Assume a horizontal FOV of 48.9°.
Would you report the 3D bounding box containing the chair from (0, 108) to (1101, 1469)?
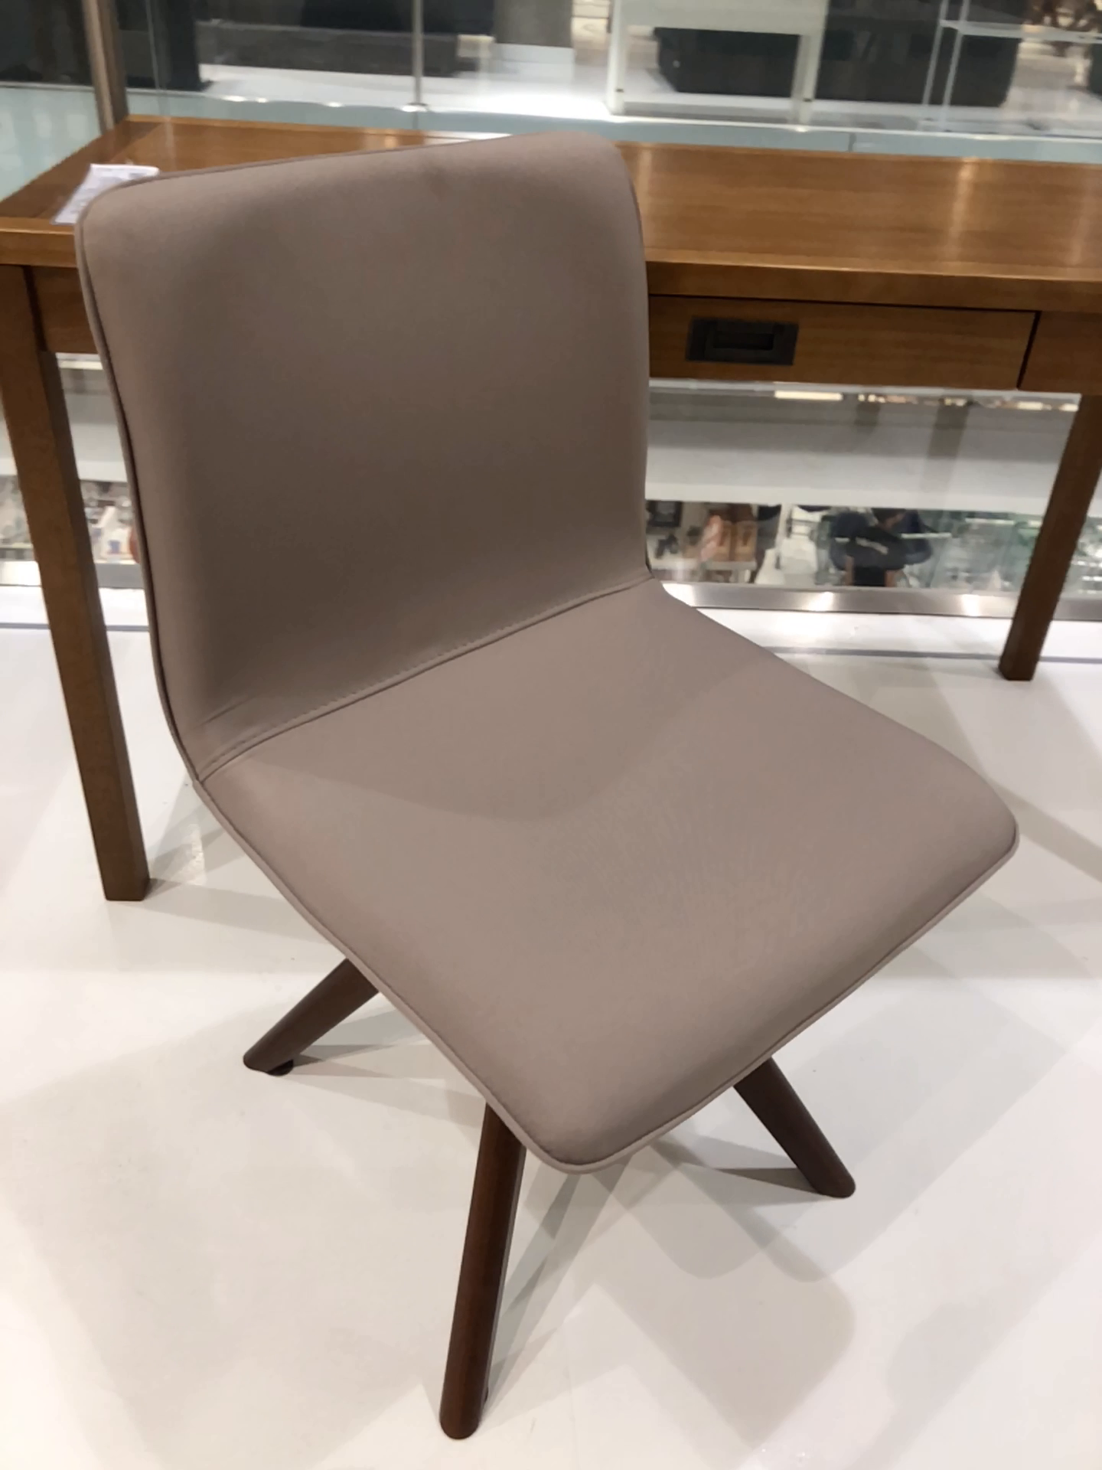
[{"bbox_3d":[0.003,0.027,0.953,0.542,0.833,0.532,-26,44,-36],"label":"chair"}]
